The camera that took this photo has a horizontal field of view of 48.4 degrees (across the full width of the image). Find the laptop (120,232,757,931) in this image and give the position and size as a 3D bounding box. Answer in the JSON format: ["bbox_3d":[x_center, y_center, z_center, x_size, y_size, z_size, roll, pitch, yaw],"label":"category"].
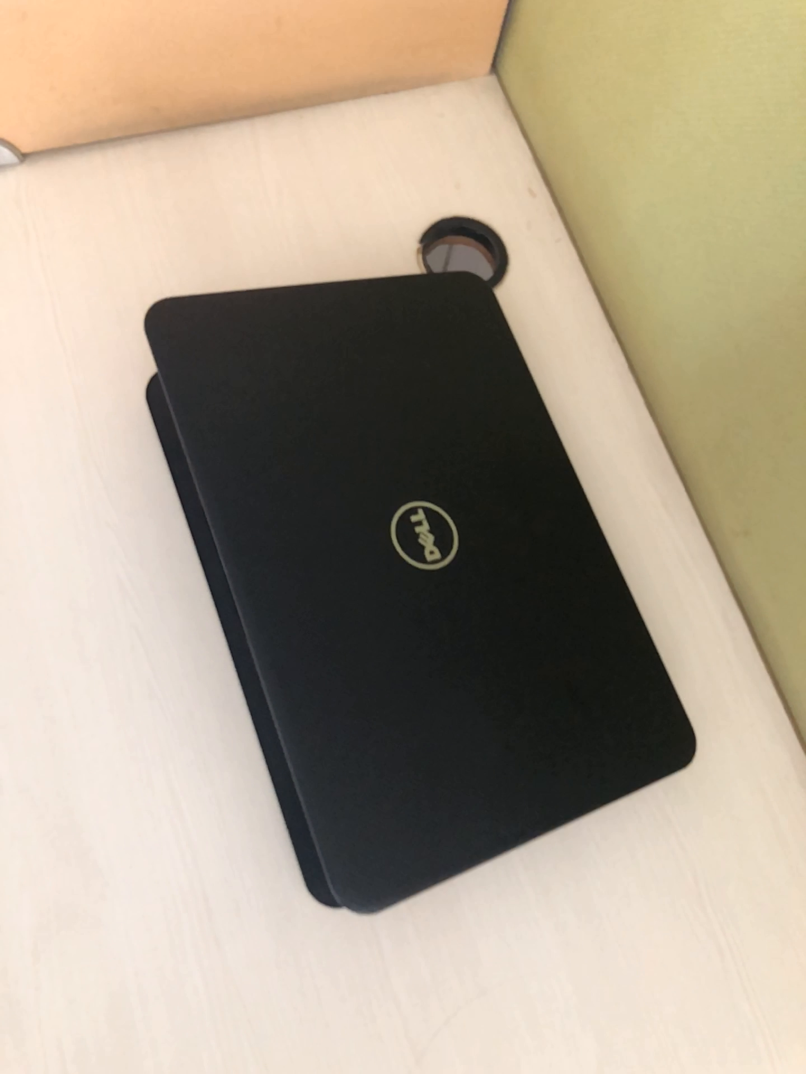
[{"bbox_3d":[0.009,0.010,0.543,0.247,0.079,0.353,-18,75,-12],"label":"laptop"}]
